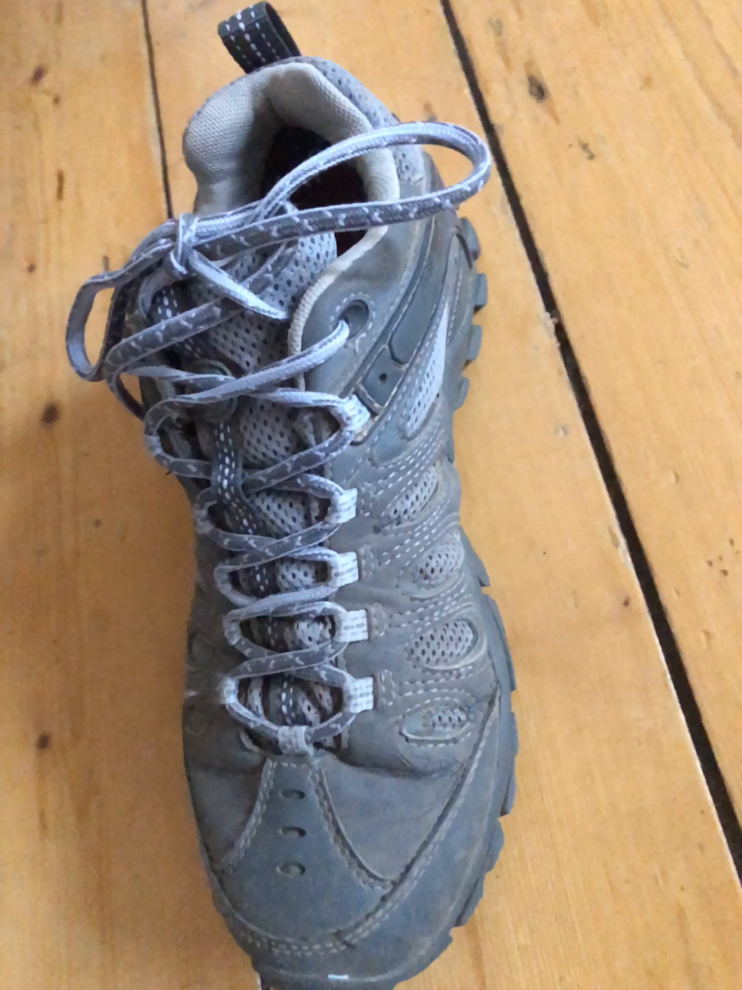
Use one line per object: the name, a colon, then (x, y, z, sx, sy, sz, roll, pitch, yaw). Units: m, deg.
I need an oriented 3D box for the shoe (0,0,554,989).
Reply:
shoe: (-0.015, -0.002, 0.249, 0.100, 0.110, 0.281, -7, 70, 24)
